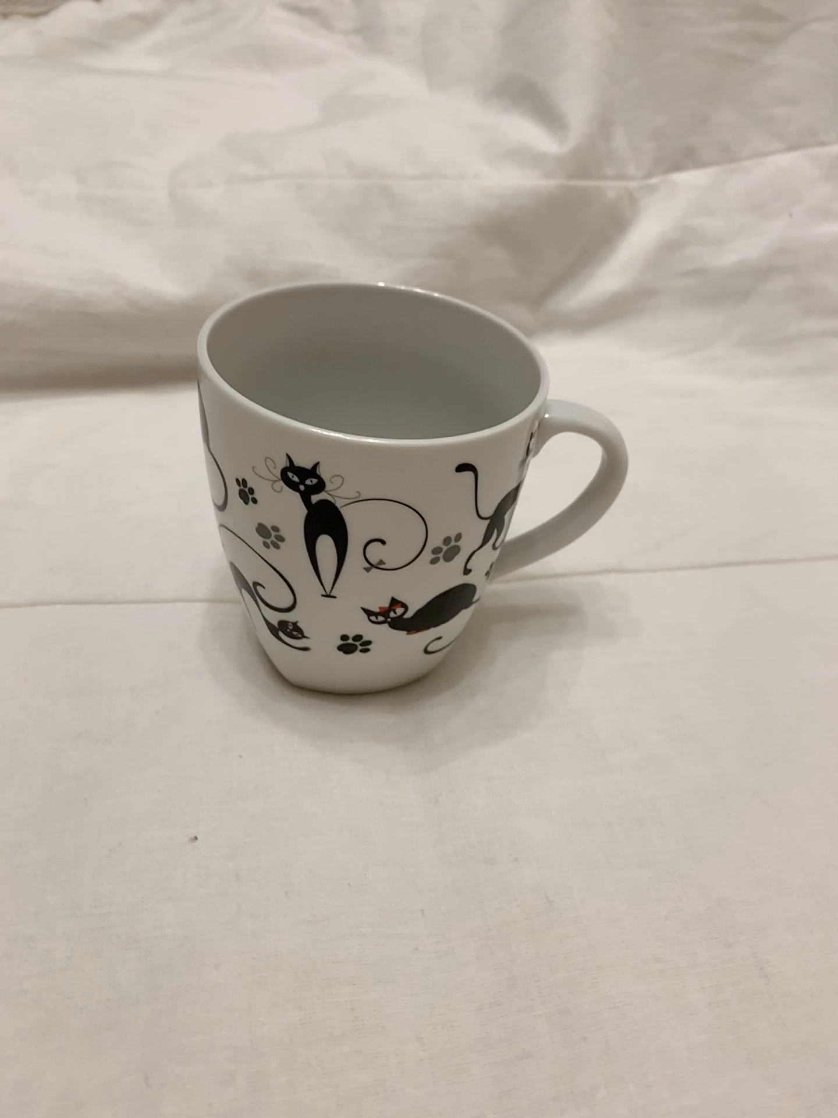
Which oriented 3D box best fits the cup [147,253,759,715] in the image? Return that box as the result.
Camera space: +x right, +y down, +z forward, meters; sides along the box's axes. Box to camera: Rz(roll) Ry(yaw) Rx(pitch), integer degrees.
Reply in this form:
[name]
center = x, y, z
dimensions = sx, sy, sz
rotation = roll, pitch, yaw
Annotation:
[cup]
center = 0.004, -0.020, 0.224
dimensions = 0.118, 0.077, 0.081
rotation = 4, 41, -4
